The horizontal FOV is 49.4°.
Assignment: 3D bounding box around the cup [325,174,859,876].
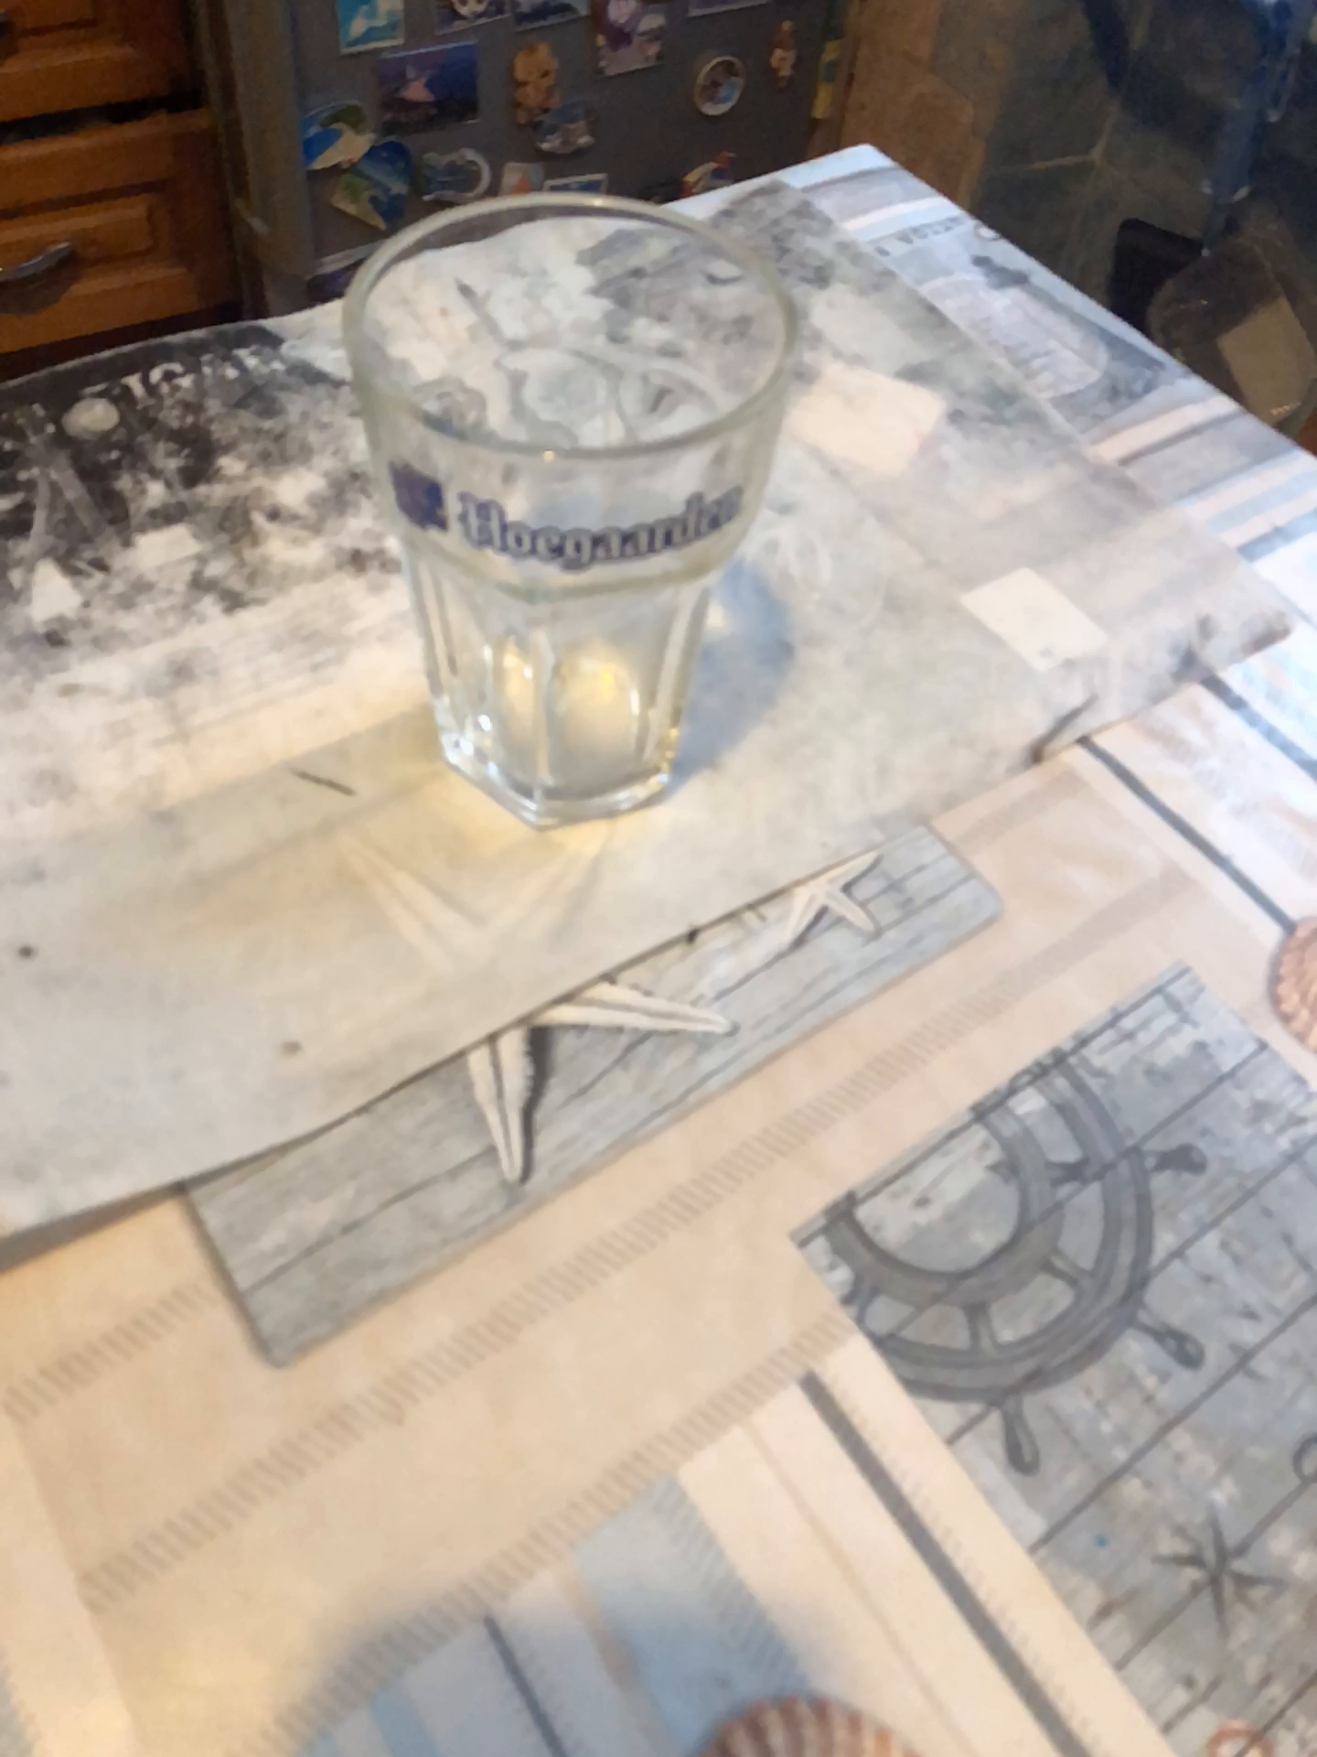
[{"bbox_3d":[-0.019,-0.082,0.349,0.098,0.123,0.099,1,54,-1],"label":"cup"}]
